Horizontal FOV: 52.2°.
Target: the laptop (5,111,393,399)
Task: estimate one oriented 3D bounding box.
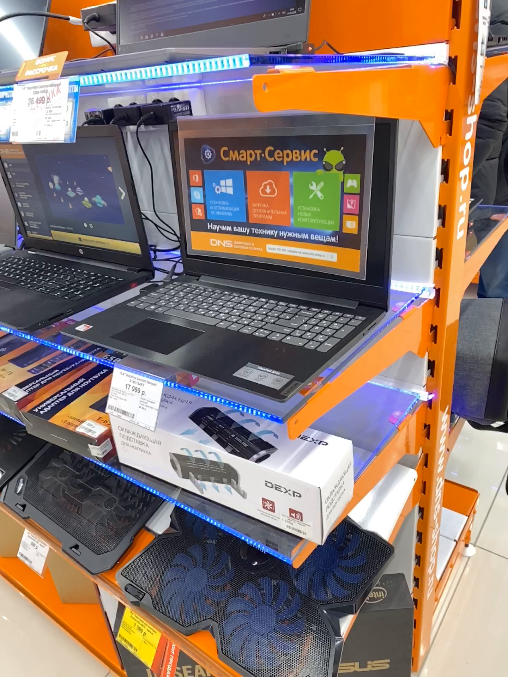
[{"bbox_3d":[-0.055,-0.132,0.643,0.358,0.236,0.266,13,31,33],"label":"laptop"}]
